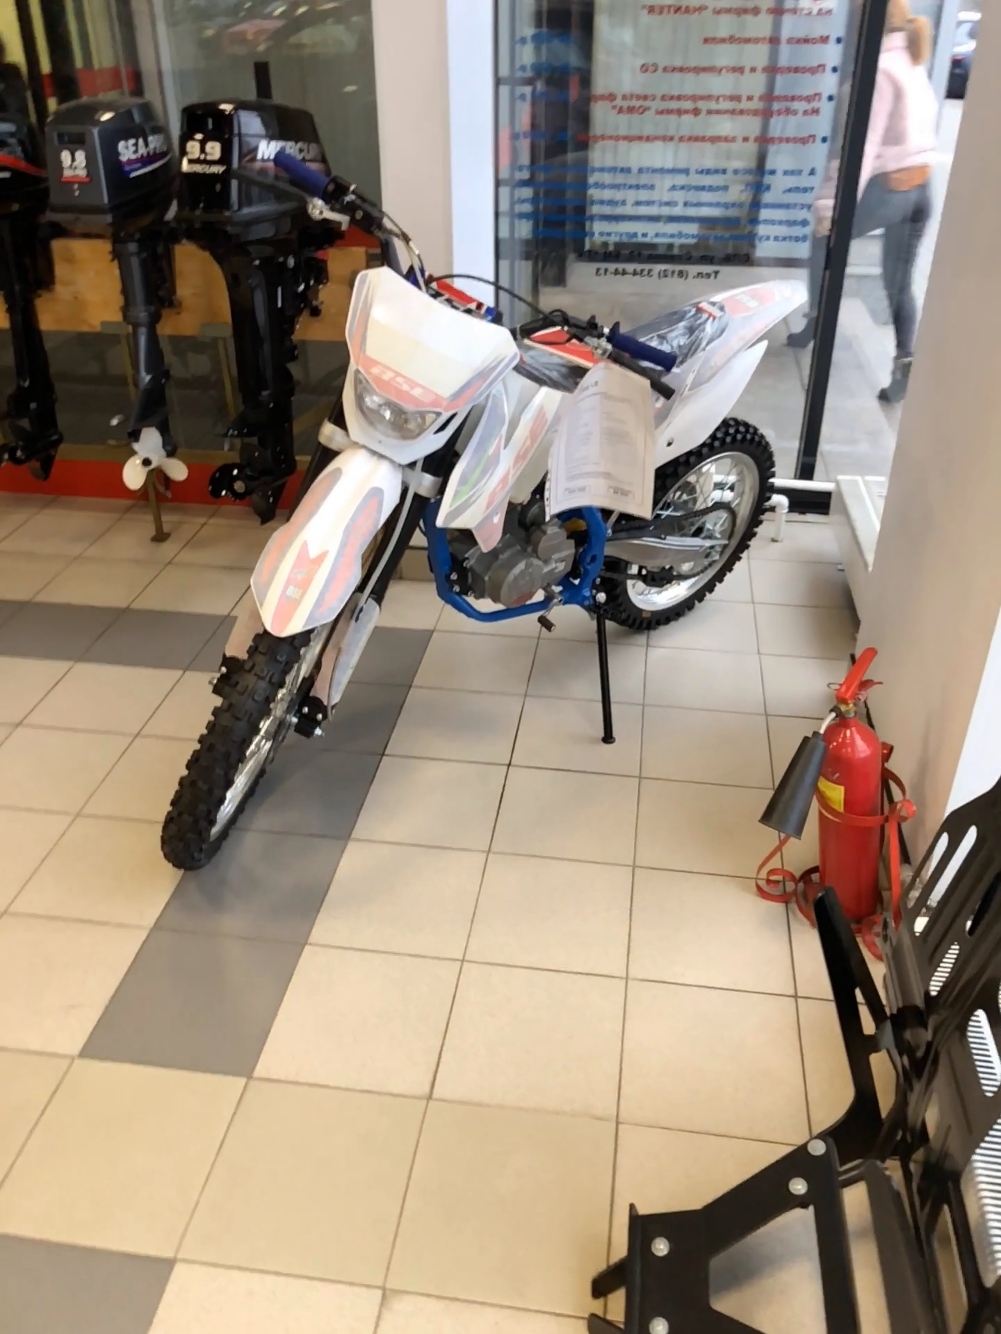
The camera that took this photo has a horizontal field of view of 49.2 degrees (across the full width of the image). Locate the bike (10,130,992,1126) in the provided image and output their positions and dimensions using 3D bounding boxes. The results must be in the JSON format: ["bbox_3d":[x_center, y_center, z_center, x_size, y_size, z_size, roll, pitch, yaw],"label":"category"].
[{"bbox_3d":[0.140,-0.330,2.303,0.844,1.219,1.850,24,39,35],"label":"bike"}]
